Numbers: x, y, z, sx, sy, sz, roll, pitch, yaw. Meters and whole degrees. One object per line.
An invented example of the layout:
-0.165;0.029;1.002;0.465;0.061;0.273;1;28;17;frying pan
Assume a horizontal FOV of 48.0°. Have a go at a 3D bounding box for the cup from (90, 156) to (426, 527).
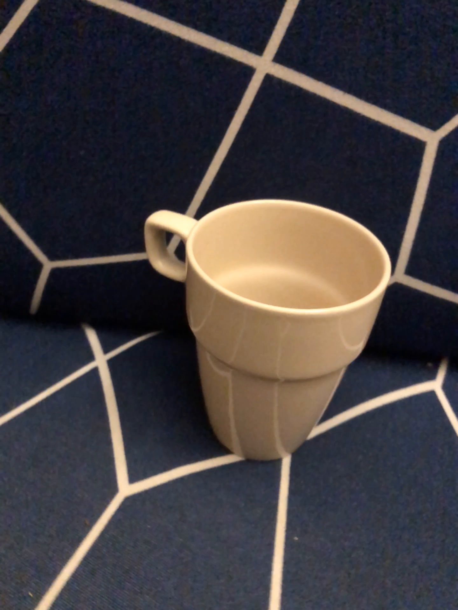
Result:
0.012;0.010;0.238;0.104;0.109;0.090;23;41;22;cup
